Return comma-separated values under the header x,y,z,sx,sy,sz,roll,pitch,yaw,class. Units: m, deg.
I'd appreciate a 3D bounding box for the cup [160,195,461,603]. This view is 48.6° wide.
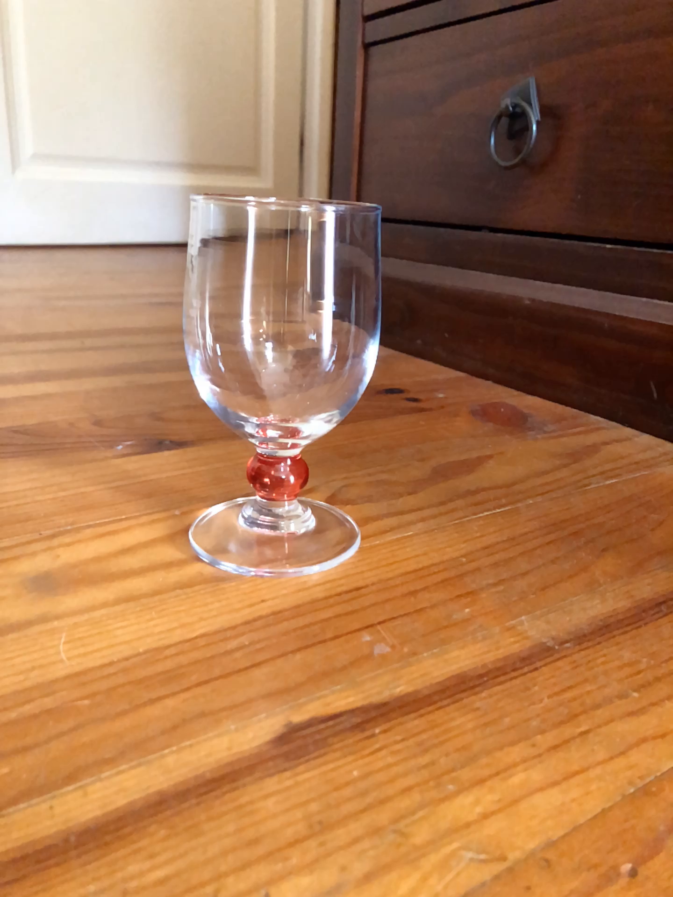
x,y,z,sx,sy,sz,roll,pitch,yaw,class
-0.015,-0.026,0.288,0.088,0.132,0.084,1,19,0,cup
